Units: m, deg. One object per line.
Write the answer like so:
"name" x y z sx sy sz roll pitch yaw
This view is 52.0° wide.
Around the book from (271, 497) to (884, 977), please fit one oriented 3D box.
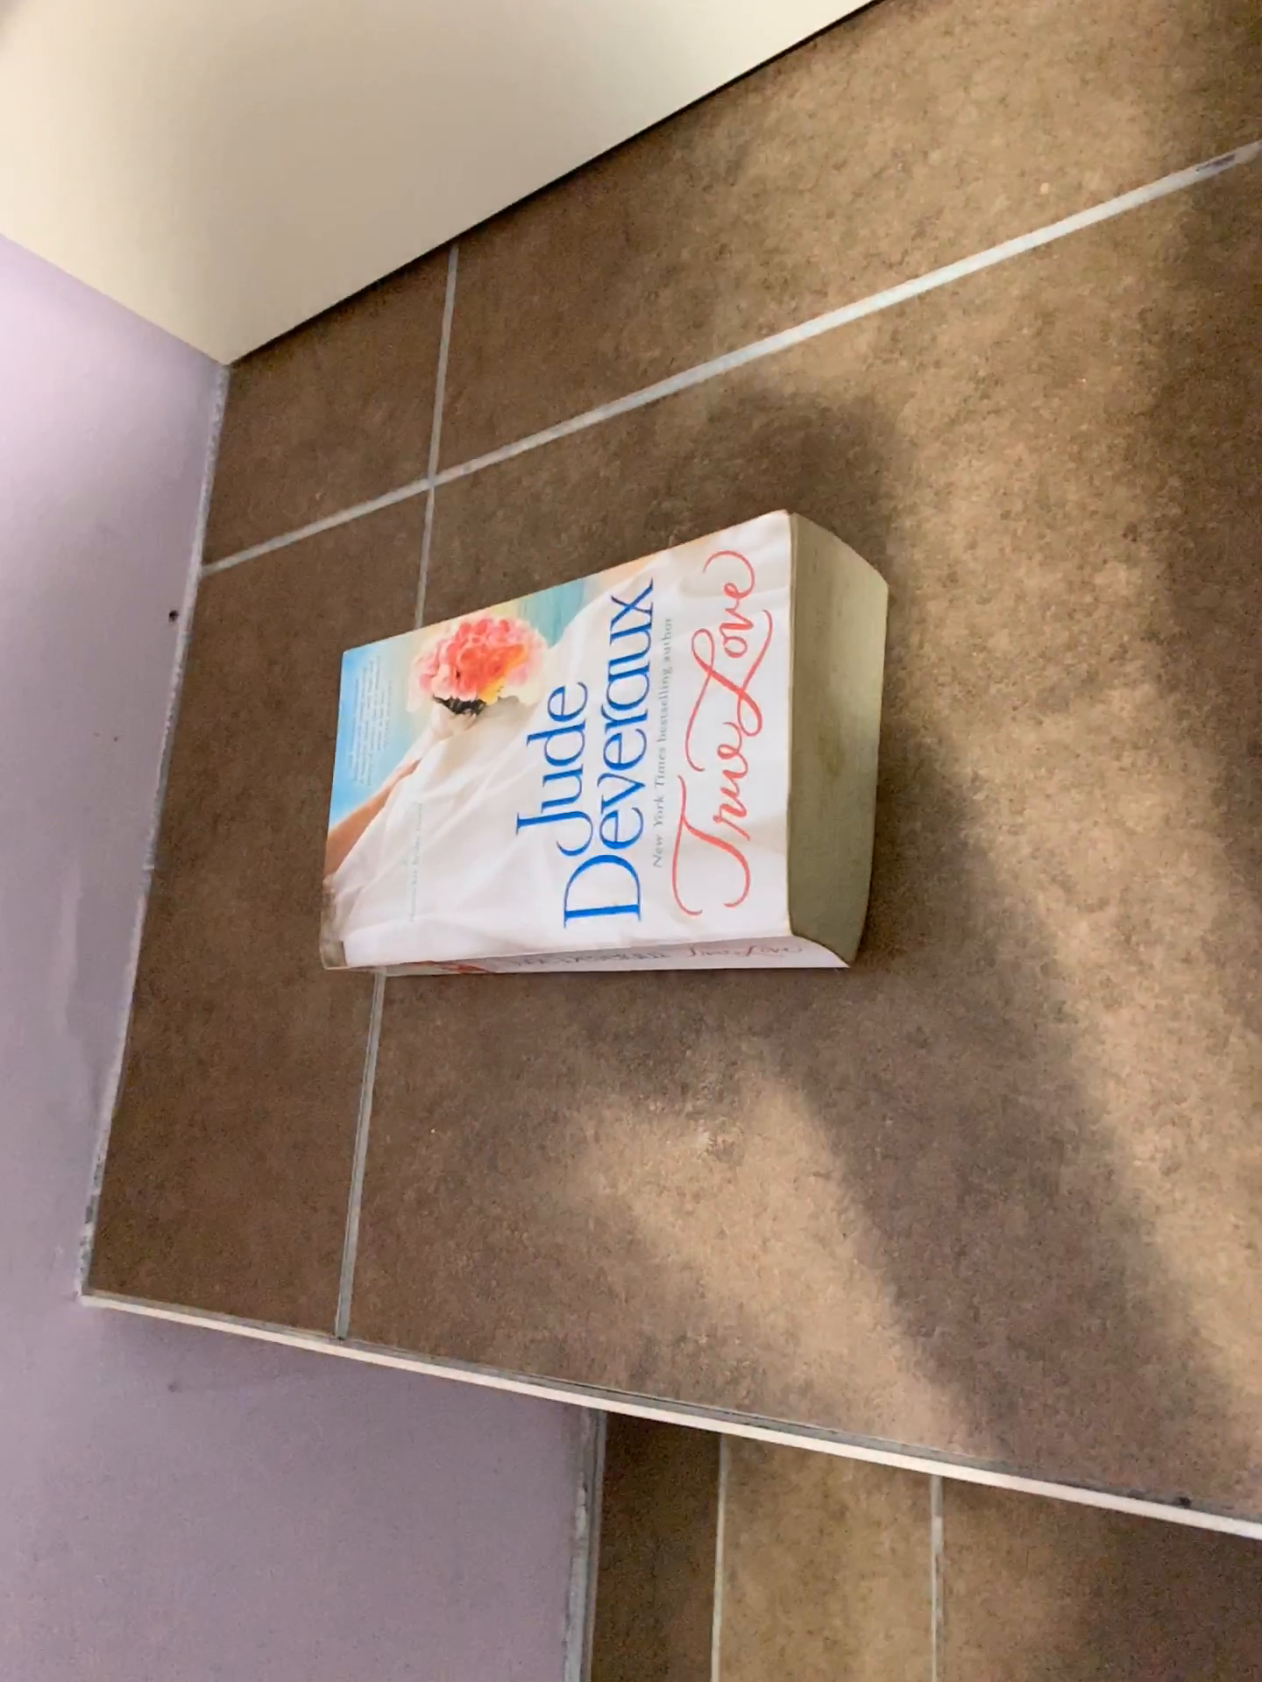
"book" -0.022 -0.018 0.370 0.180 0.047 0.106 -6 74 38
